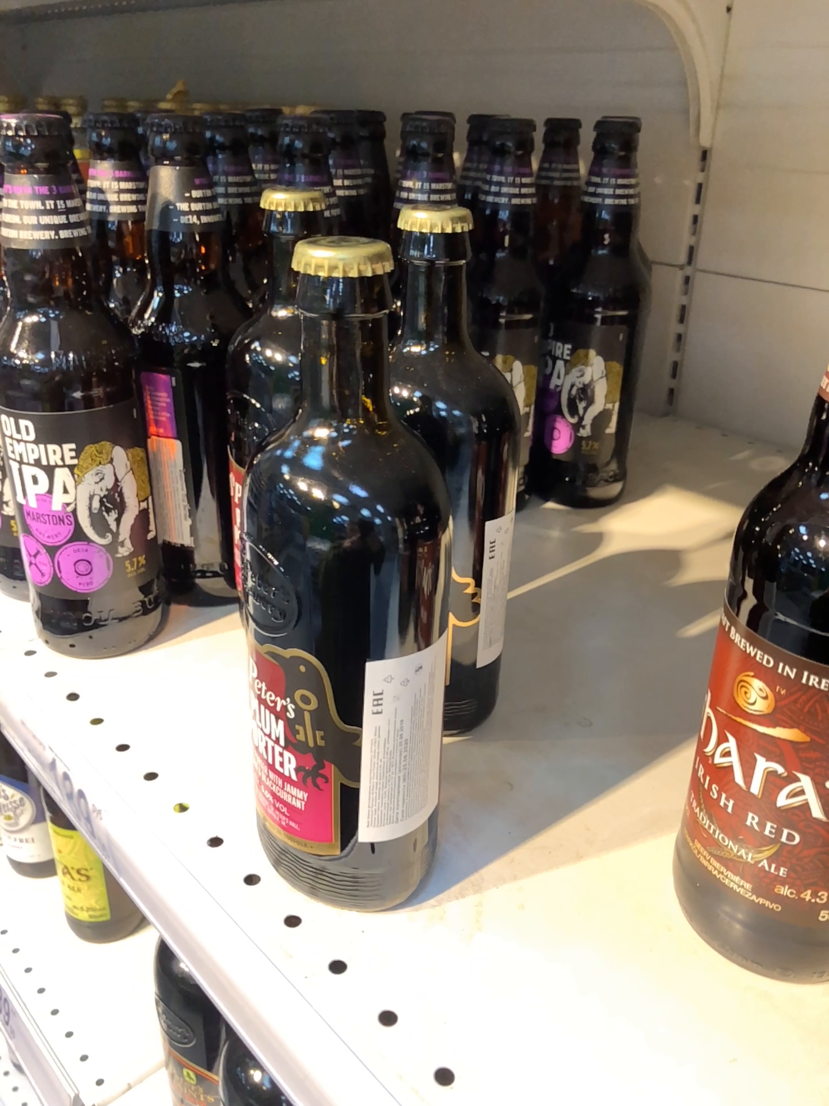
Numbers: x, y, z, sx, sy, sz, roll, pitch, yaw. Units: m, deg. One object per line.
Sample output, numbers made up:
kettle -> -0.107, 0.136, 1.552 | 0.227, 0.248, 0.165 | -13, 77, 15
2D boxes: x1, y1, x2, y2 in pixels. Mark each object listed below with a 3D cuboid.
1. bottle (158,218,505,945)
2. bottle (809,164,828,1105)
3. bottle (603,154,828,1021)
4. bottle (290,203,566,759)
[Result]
bottle -> -0.027, 0.009, 0.294 | 0.058, 0.209, 0.082 | -18, 31, -35
bottle -> 0.145, 0.064, 0.156 | 0.069, 0.235, 0.075 | 1, 25, -1
bottle -> 0.117, 0.012, 0.264 | 0.069, 0.231, 0.072 | 1, 25, -1
bottle -> 0.003, -0.031, 0.392 | 0.079, 0.213, 0.070 | 21, 31, 35
